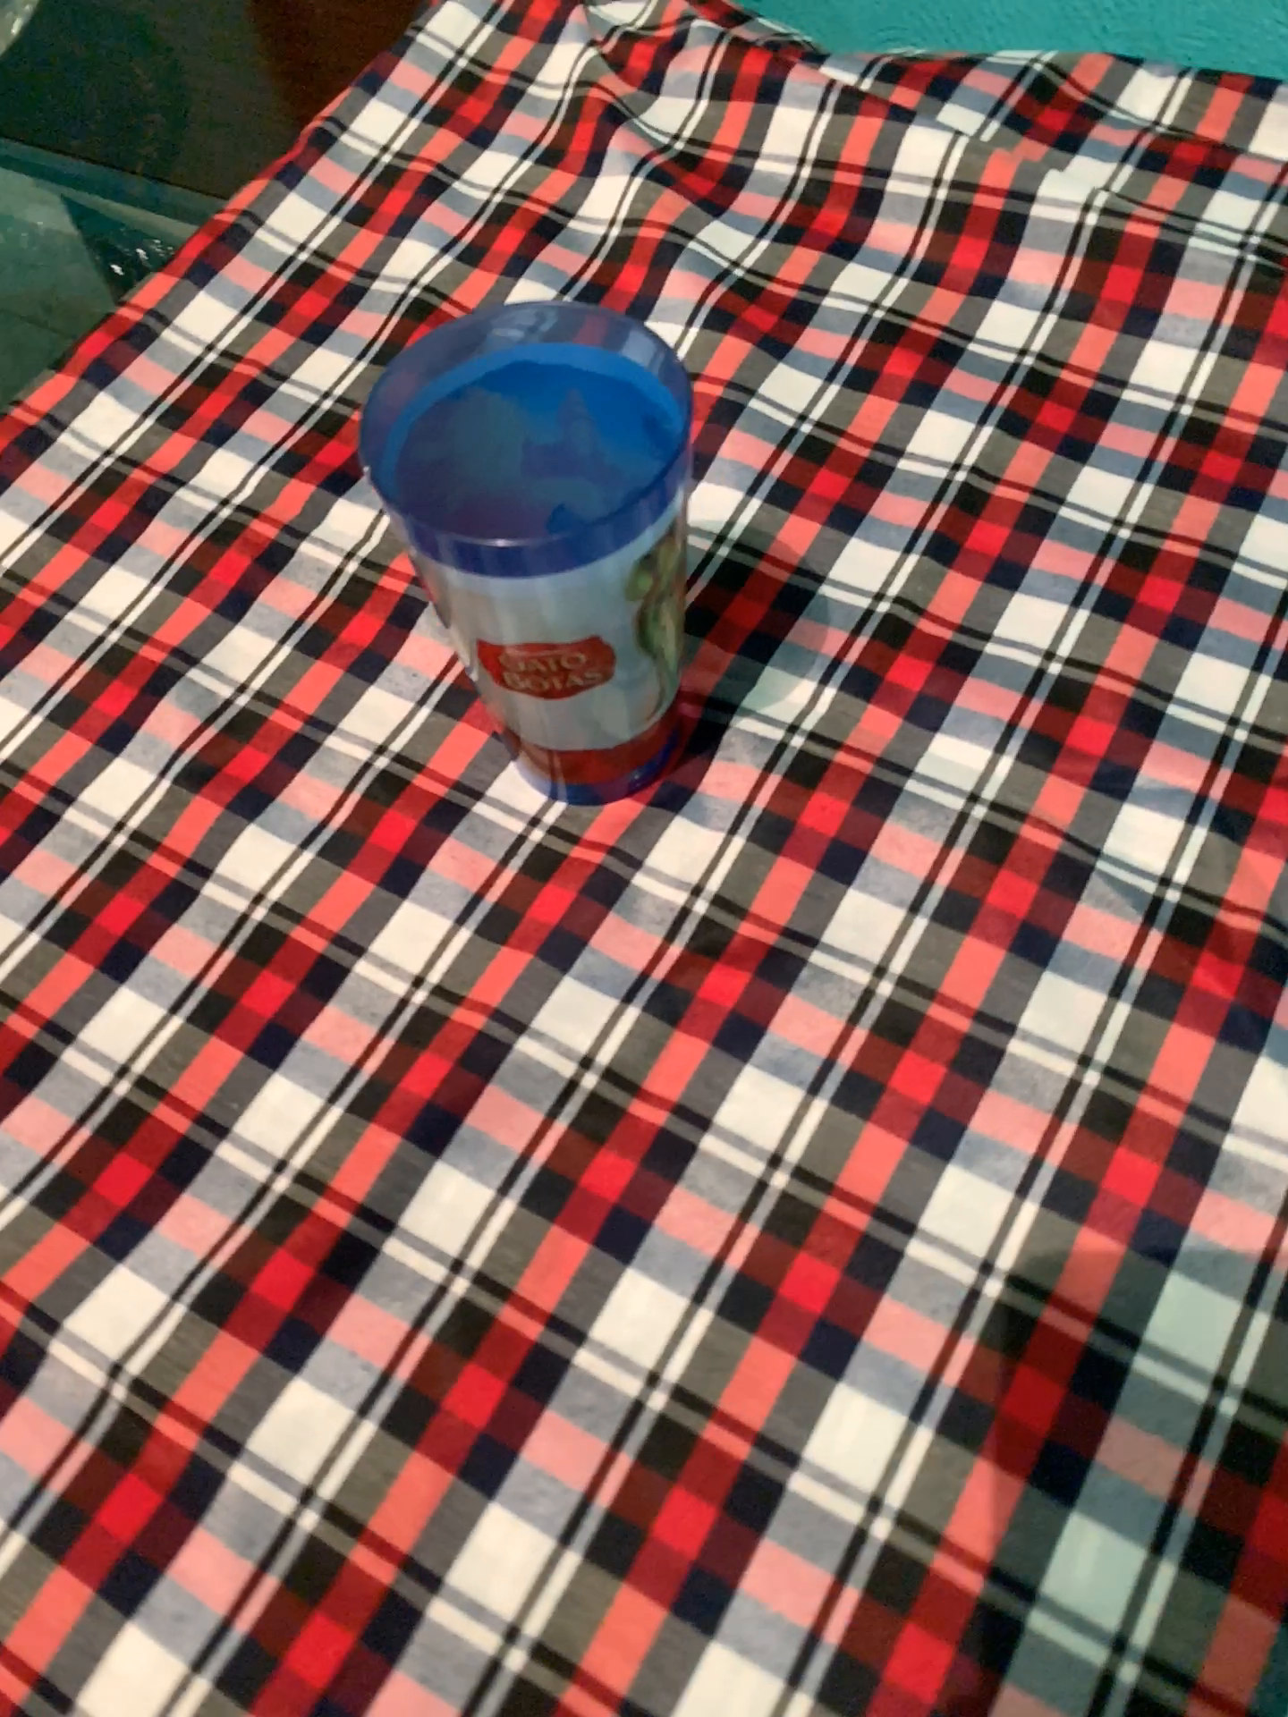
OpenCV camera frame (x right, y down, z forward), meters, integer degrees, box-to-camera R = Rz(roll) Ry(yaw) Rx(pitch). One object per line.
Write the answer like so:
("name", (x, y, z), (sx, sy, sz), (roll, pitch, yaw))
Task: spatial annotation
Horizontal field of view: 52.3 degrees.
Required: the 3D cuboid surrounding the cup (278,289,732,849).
("cup", (-0.030, -0.081, 0.394), (0.090, 0.130, 0.090), (-3, 60, 5))
